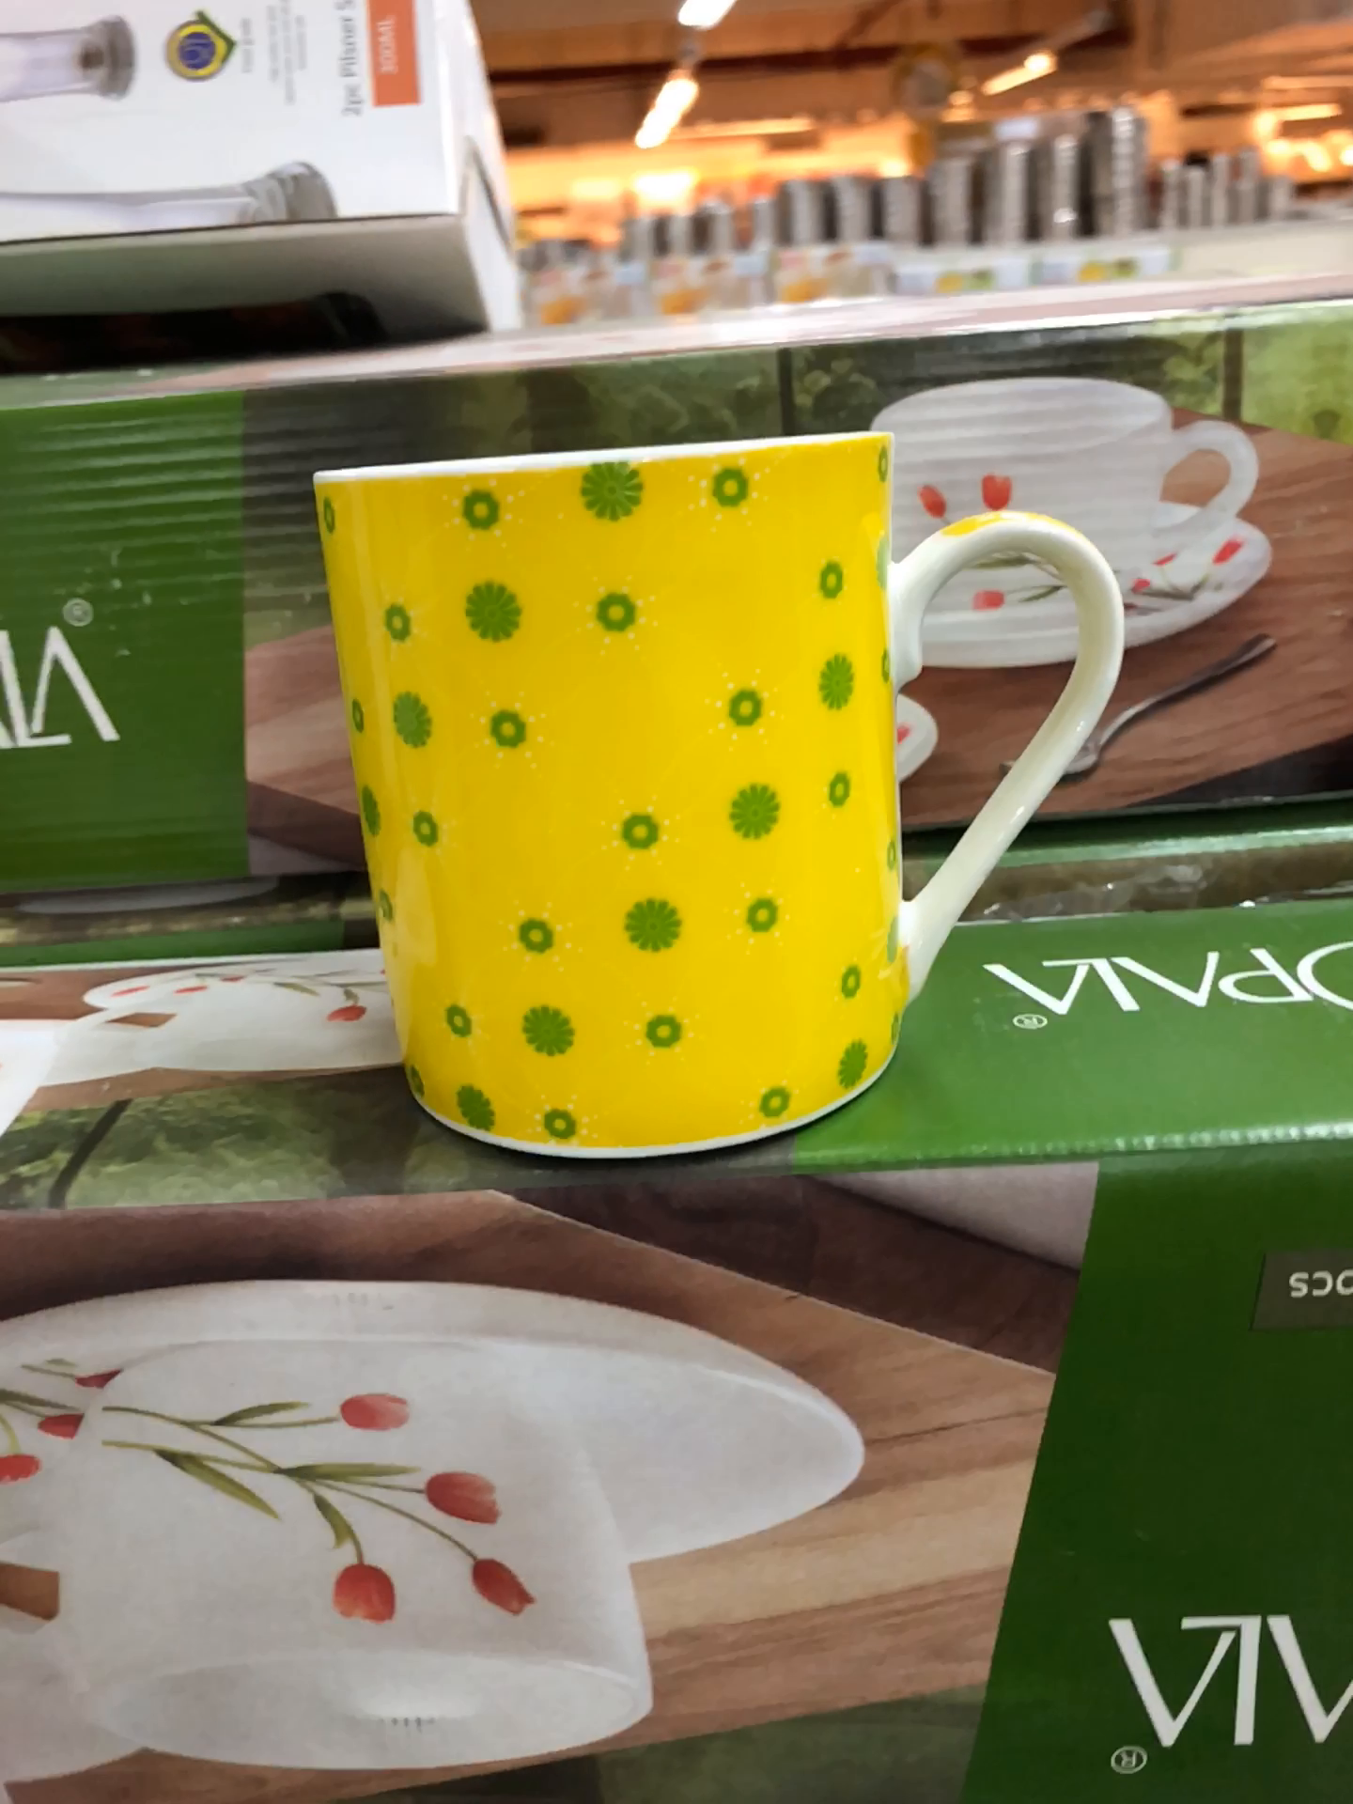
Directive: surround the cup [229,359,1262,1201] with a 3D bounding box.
[{"bbox_3d":[0.011,-0.021,0.212,0.110,0.090,0.080,-4,16,1],"label":"cup"}]
